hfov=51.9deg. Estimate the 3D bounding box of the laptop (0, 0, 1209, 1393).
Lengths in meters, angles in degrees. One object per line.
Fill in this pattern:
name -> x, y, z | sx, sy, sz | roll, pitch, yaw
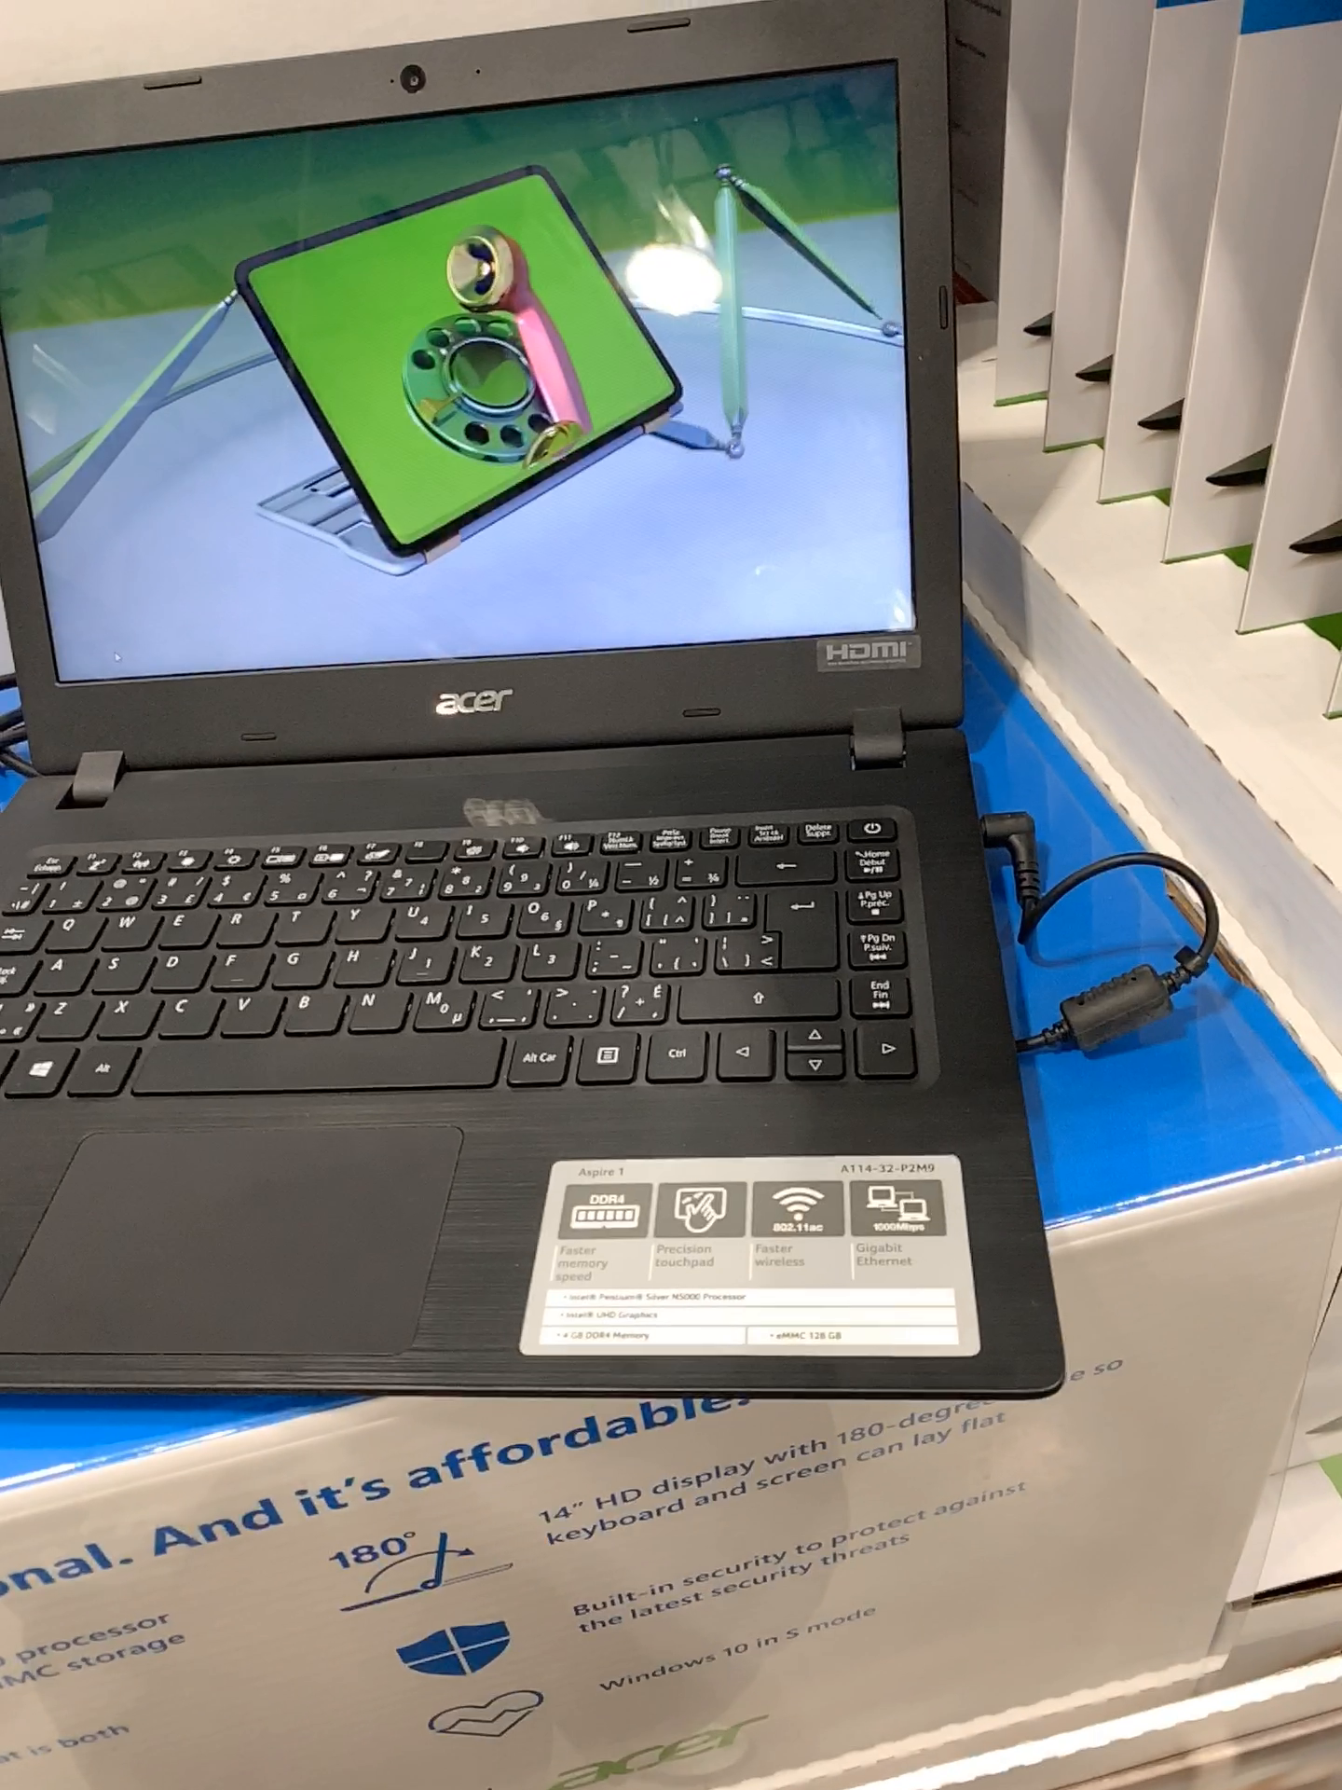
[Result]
laptop -> -0.079, -0.075, 0.352 | 0.318, 0.186, 0.329 | -2, 41, 7
